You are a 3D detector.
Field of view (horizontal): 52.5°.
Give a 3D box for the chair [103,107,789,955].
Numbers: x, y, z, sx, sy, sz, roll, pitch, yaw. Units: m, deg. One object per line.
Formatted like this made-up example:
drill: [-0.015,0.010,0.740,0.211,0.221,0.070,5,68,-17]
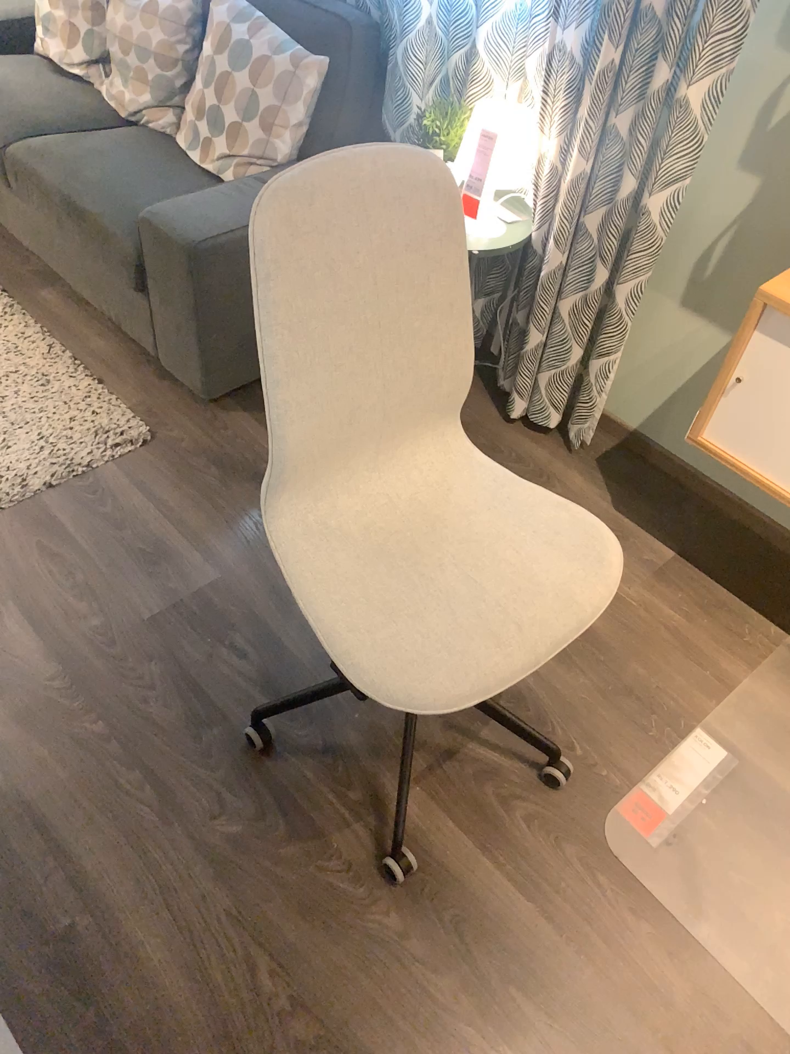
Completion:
chair: [0.070,0.026,1.305,0.631,1.007,0.711,-29,57,-31]
